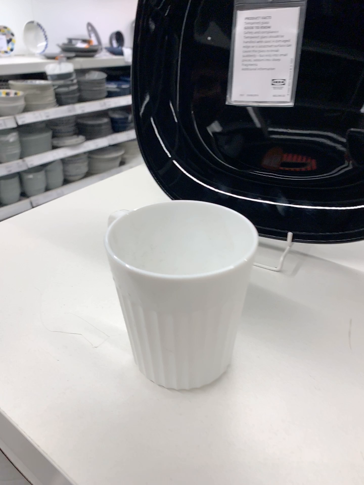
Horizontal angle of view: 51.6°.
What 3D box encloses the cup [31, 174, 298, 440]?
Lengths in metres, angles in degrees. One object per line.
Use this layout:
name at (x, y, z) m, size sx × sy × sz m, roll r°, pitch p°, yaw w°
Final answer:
cup at (-0.012, 0.023, 0.219) m, size 0.110 × 0.080 × 0.090 m, roll 26°, pitch 38°, yaw 36°
